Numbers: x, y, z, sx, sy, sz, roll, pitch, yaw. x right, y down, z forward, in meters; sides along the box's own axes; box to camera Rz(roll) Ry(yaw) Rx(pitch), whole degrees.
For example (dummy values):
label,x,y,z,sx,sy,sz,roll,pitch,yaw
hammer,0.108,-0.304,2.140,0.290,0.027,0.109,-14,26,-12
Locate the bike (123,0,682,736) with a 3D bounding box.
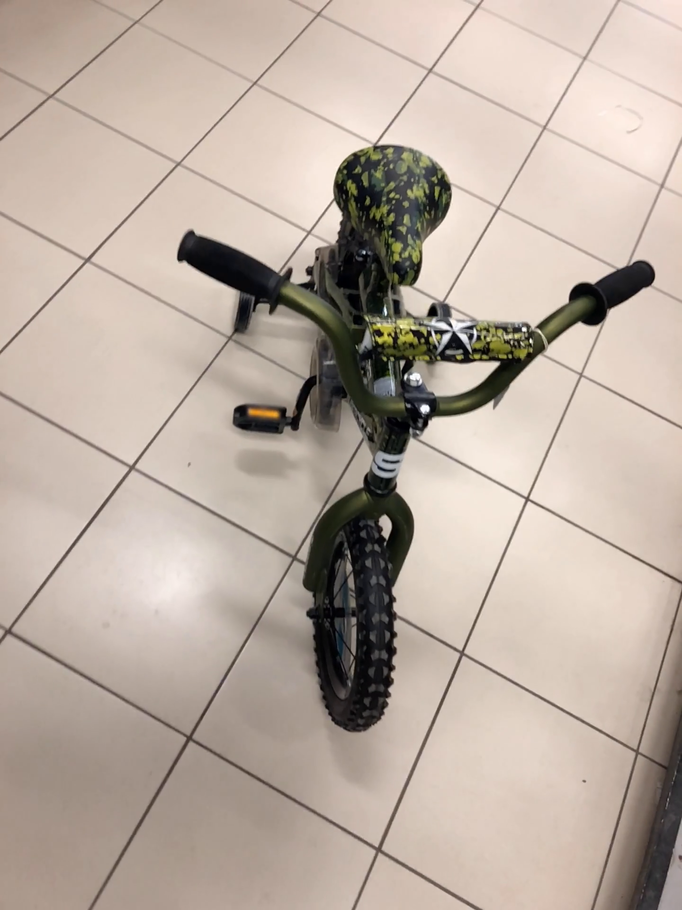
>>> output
label,x,y,z,sx,sy,sz,roll,pitch,yaw
bike,0.069,-0.106,0.954,0.533,0.557,0.818,4,62,-9
